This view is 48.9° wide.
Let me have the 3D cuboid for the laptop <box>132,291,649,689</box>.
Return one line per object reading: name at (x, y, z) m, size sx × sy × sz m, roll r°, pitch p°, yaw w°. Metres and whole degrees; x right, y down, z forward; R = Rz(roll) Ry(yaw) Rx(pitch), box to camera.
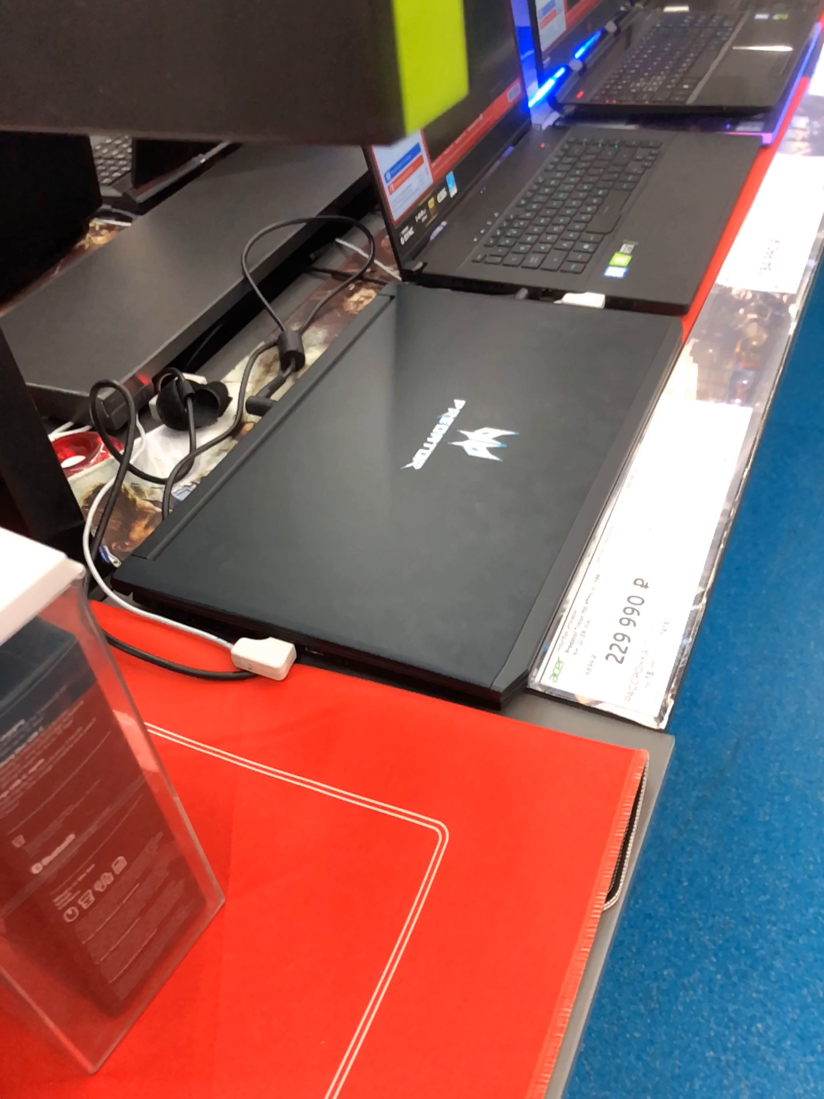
laptop at (0.007, -0.073, 0.608) m, size 0.221 × 0.006 × 0.355 m, roll 13°, pitch 47°, yaw 21°
